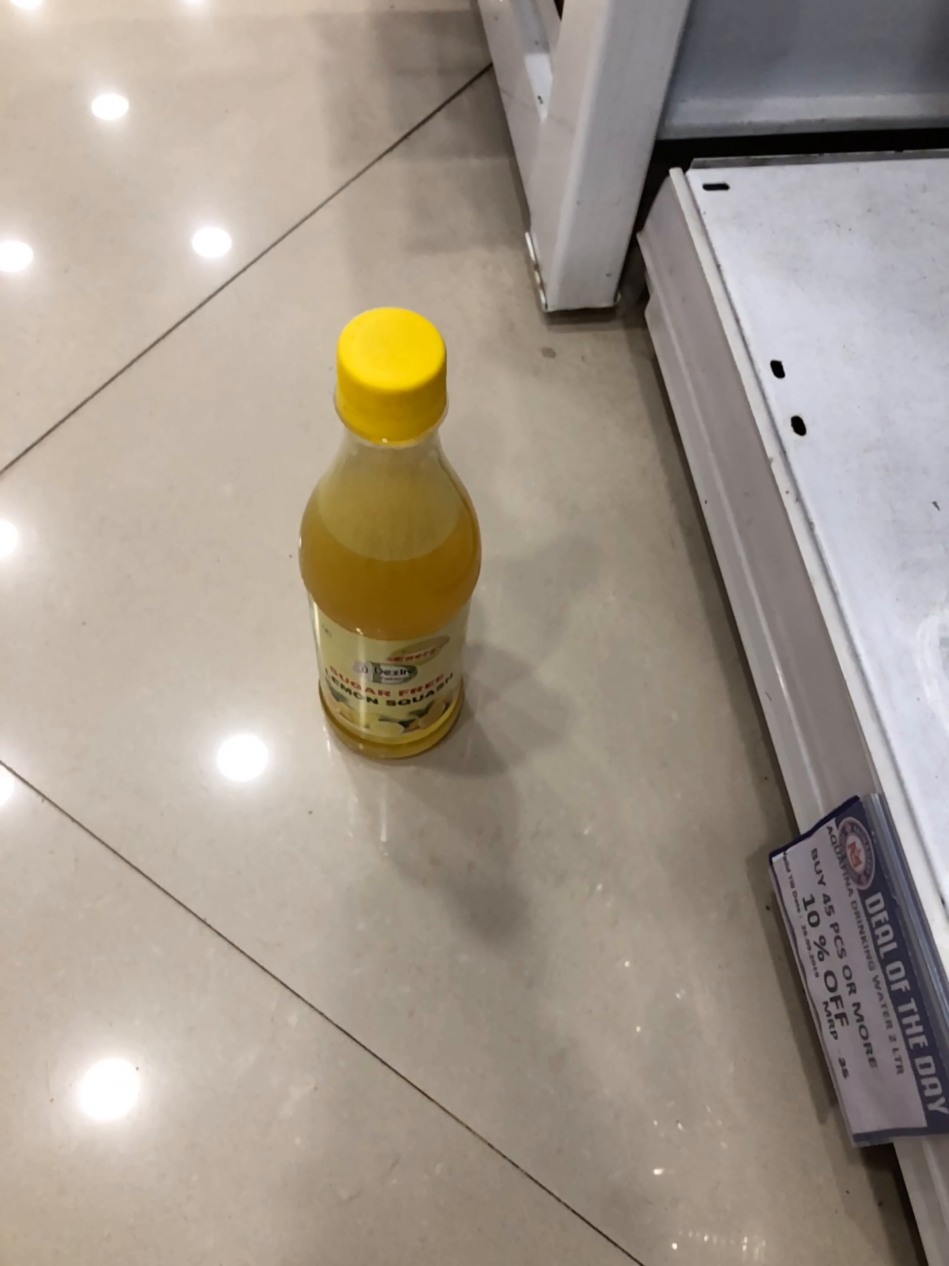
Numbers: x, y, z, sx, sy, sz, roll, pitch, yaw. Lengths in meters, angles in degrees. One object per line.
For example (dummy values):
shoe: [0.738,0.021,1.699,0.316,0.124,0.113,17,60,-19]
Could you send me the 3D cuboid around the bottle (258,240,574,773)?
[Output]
bottle: [-0.022,-0.024,0.384,0.080,0.229,0.070,3,62,-3]
